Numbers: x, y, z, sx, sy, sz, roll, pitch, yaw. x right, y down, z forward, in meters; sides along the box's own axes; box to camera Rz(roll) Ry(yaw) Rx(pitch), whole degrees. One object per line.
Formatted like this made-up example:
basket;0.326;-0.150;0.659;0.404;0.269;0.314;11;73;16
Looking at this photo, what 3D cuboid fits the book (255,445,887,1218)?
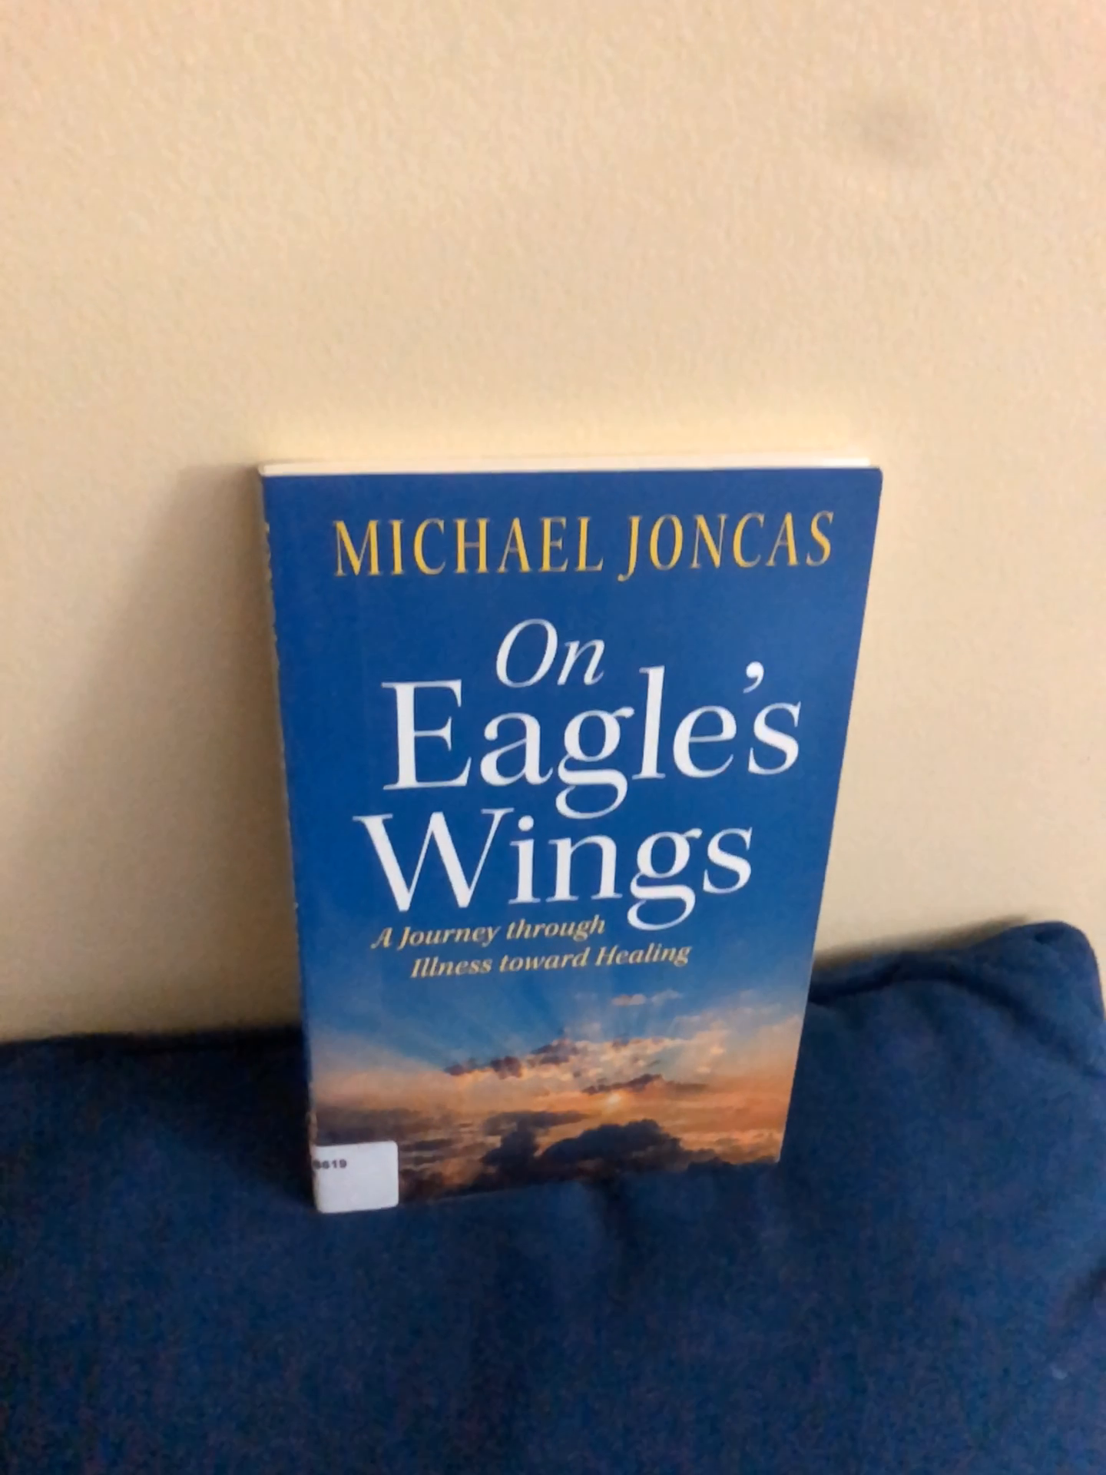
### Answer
book;0.002;0.032;0.316;0.139;0.210;0.014;-3;26;-10
